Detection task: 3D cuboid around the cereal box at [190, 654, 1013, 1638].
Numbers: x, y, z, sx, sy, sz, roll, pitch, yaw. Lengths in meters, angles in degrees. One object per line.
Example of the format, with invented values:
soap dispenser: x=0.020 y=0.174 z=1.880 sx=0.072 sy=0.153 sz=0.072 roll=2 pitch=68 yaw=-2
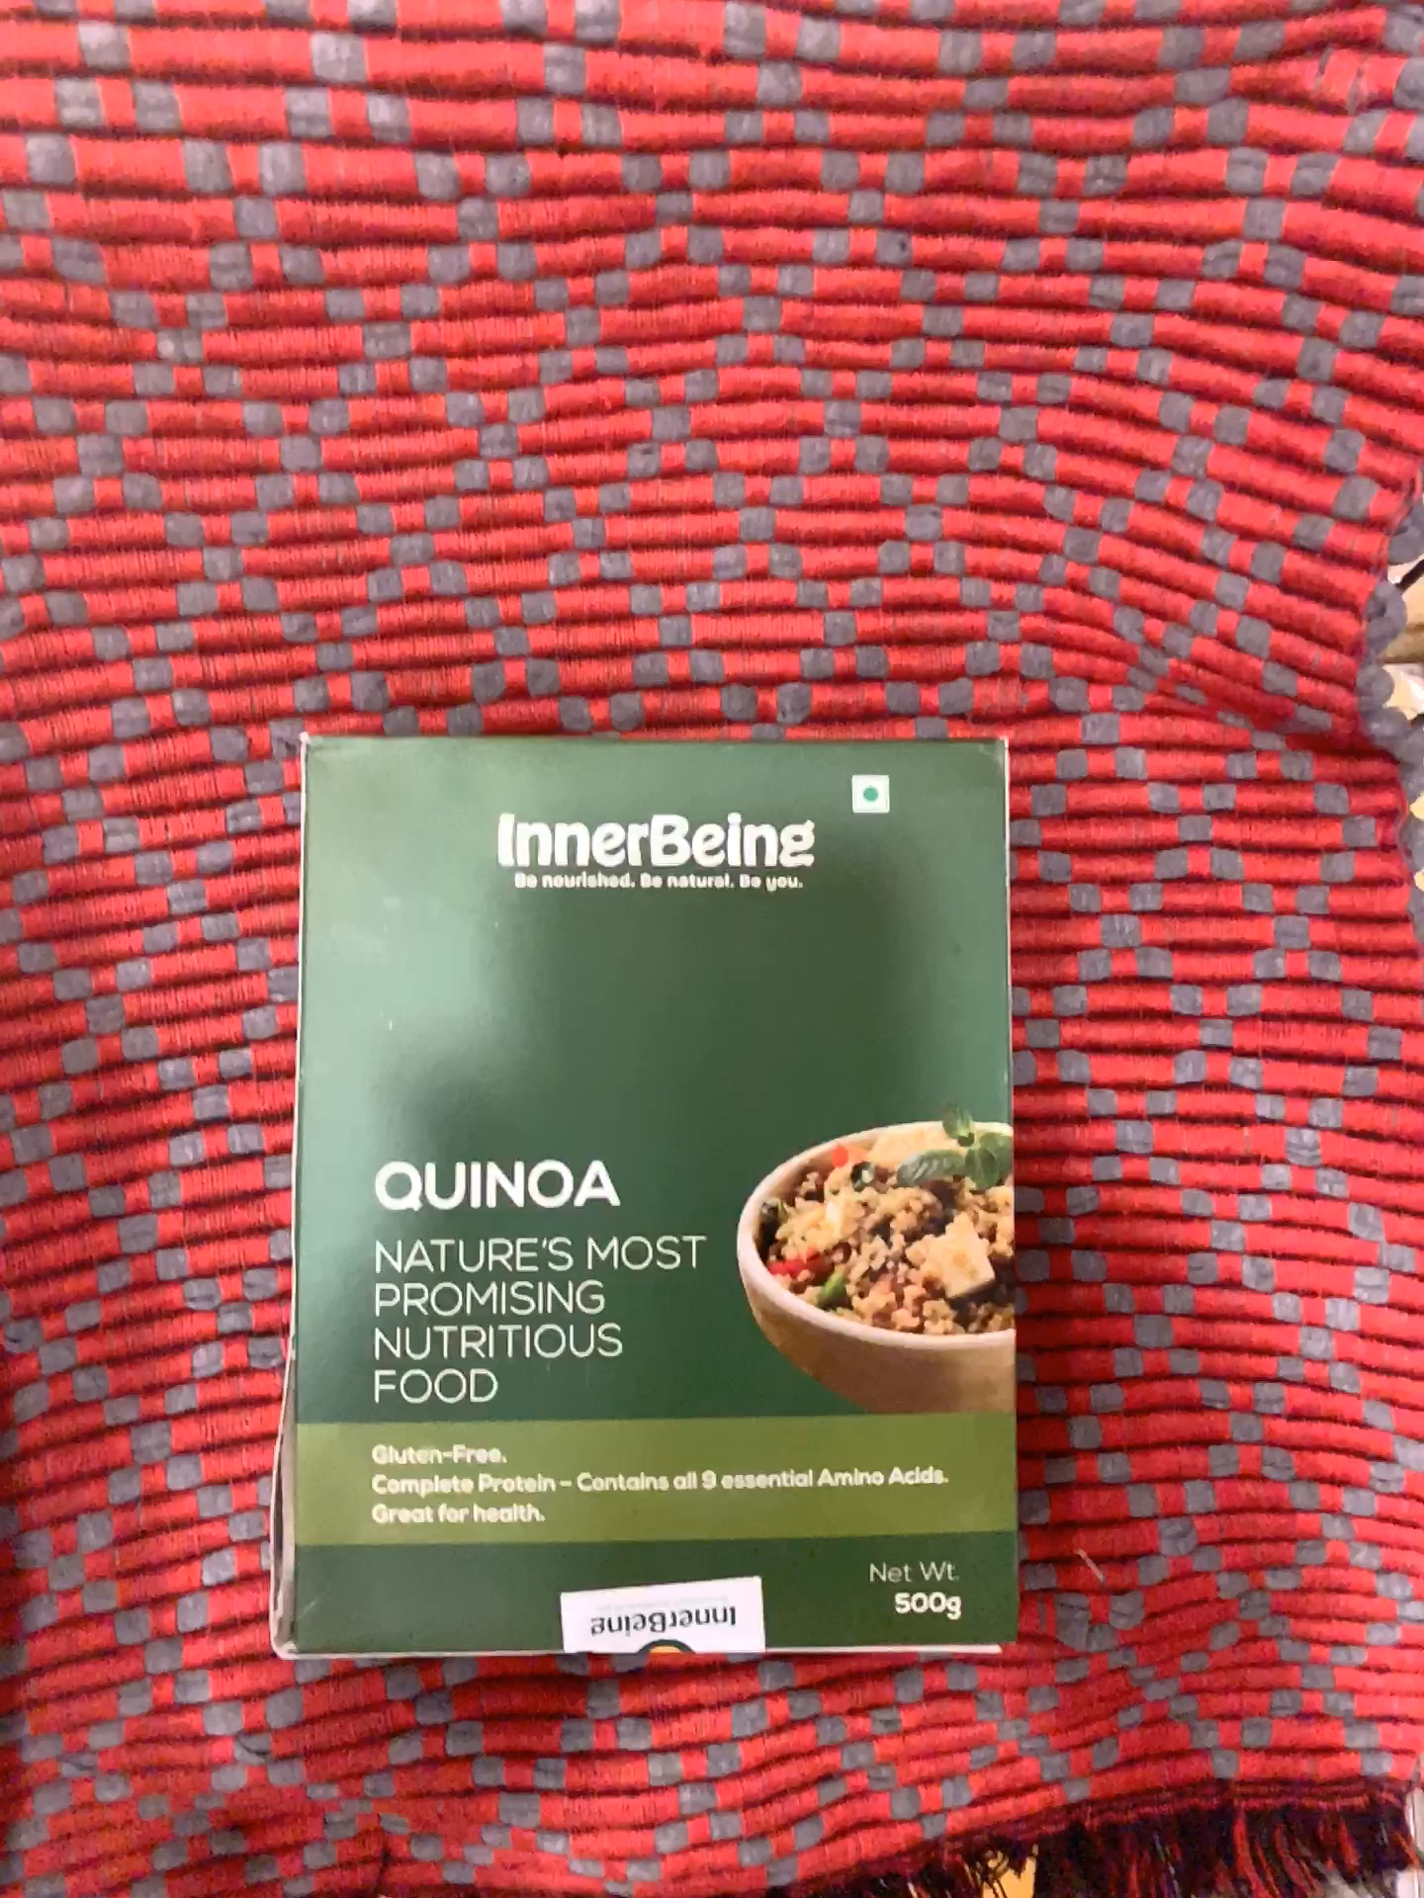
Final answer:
cereal box: x=-0.020 y=0.036 z=0.289 sx=0.150 sy=0.040 sz=0.180 roll=0 pitch=88 yaw=-1
